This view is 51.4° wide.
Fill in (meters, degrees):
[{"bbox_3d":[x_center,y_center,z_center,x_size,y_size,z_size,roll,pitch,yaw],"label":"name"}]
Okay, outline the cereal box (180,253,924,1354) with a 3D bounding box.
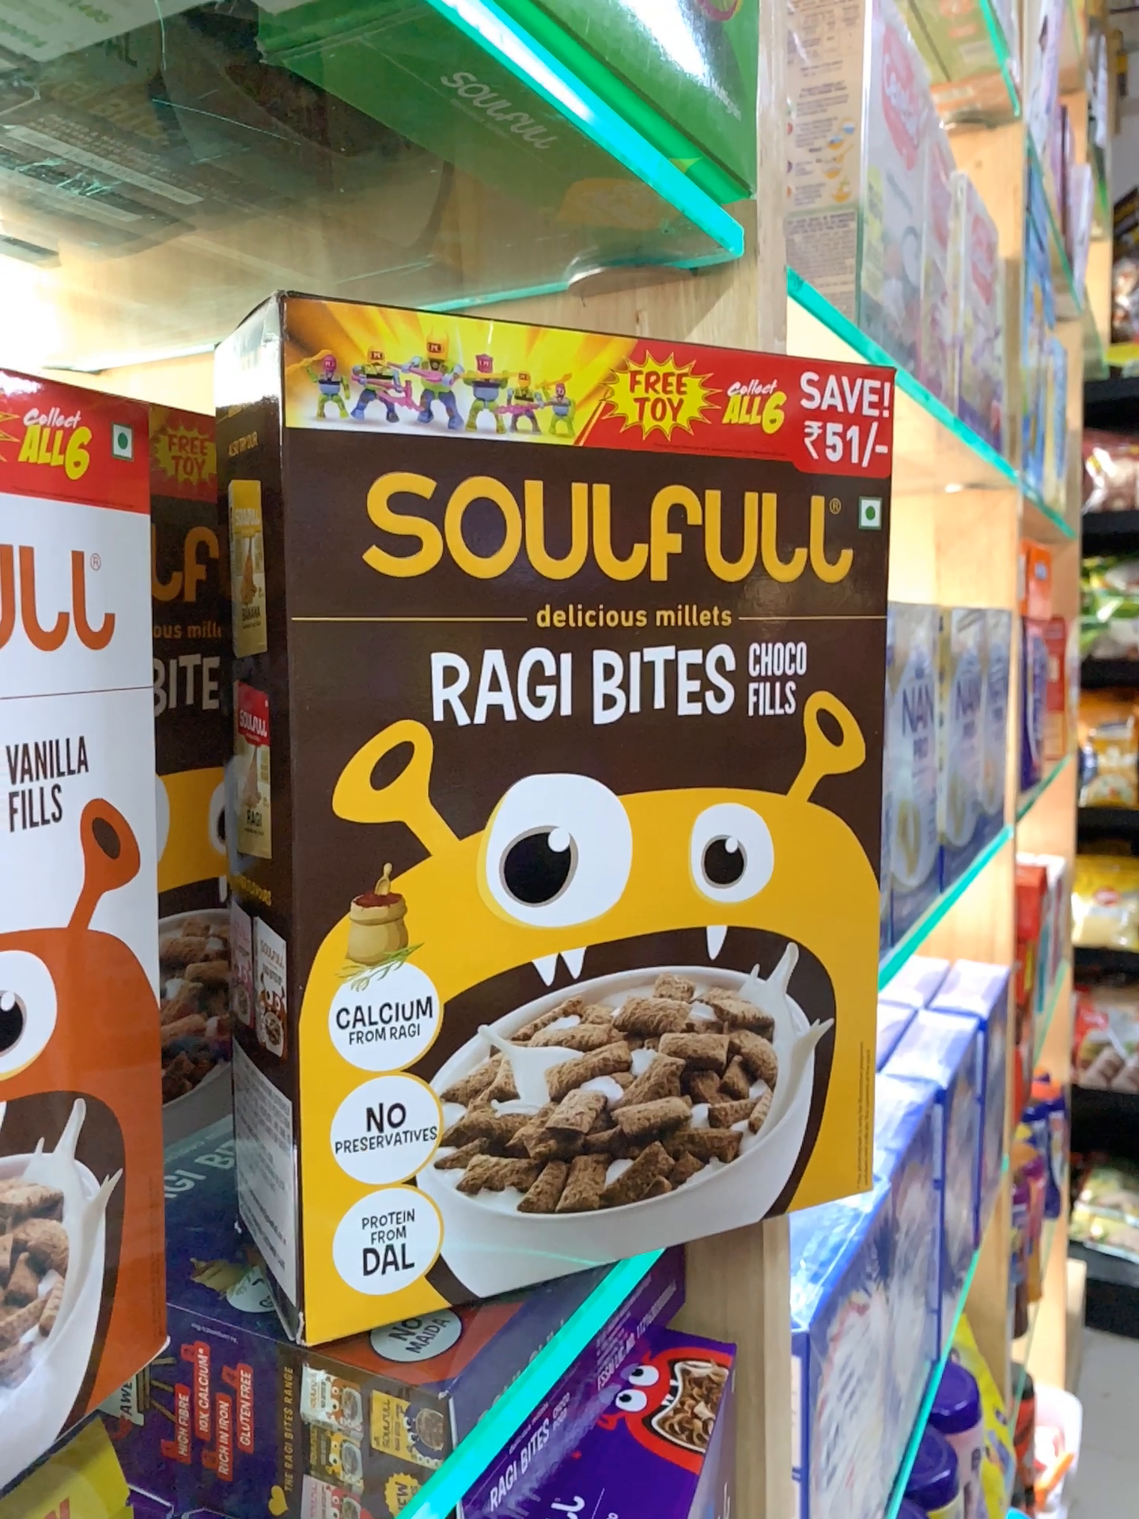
[{"bbox_3d":[0.001,0.007,0.325,0.190,0.239,0.060,-3,6,-27],"label":"cereal box"}]
